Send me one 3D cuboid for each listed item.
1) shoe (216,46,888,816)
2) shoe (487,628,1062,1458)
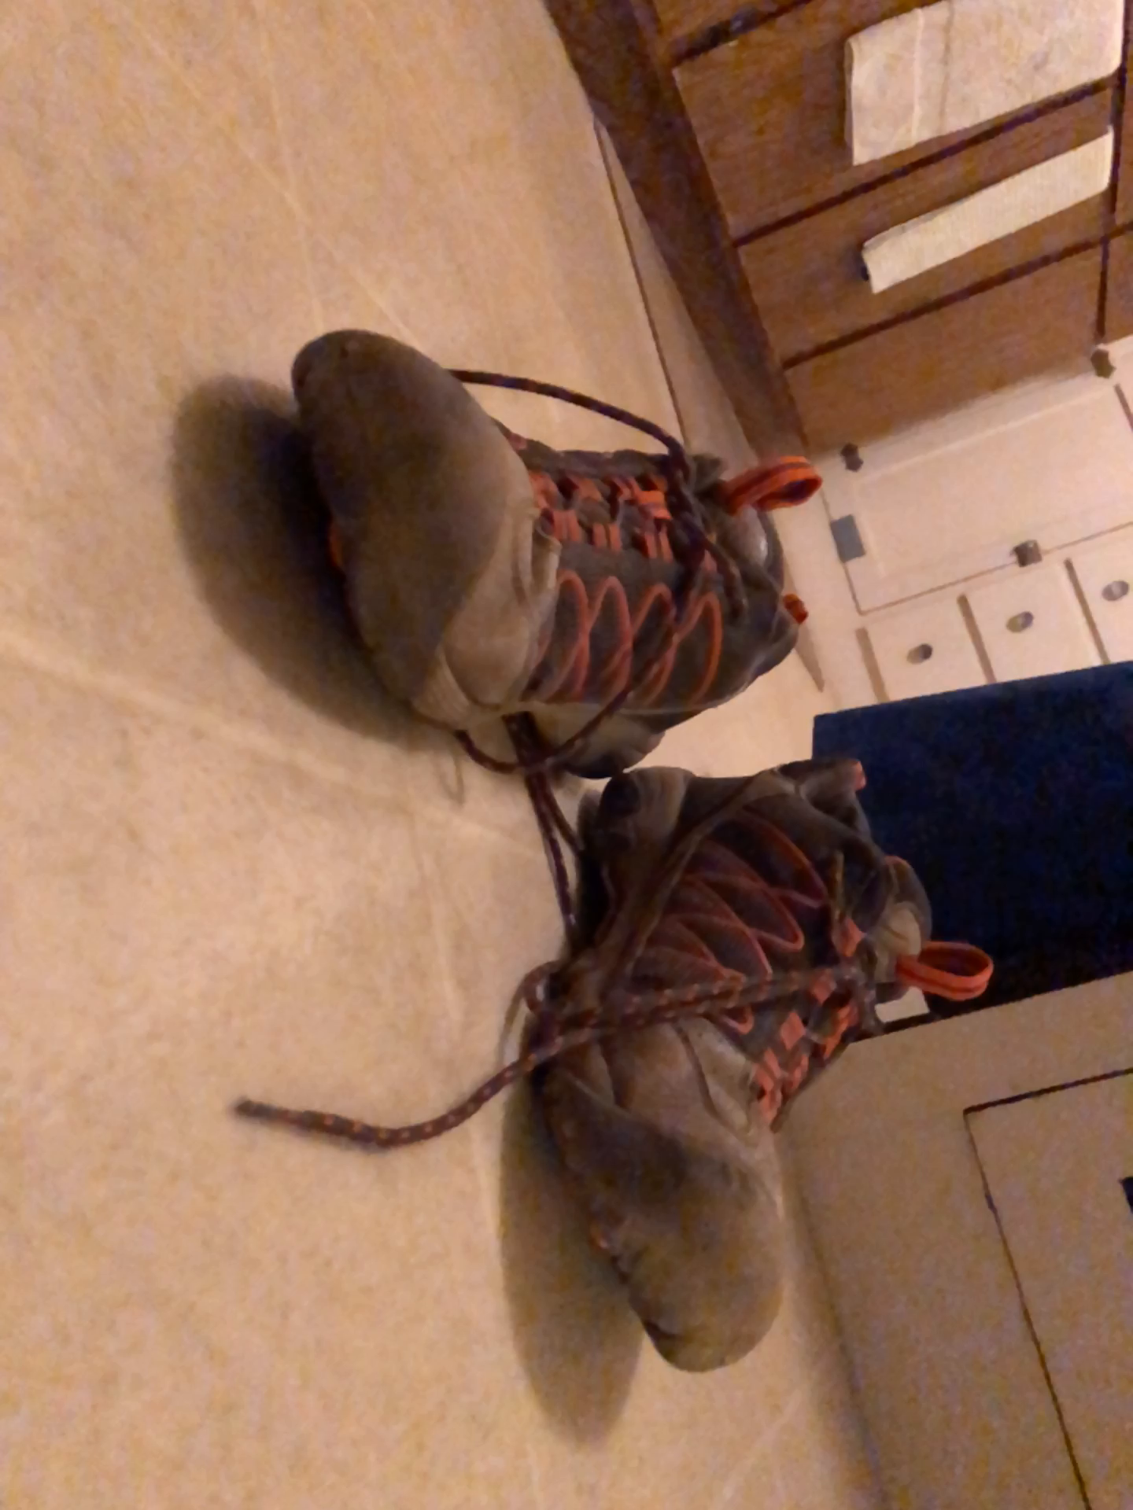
[{"bbox_3d":[0.023,-0.075,0.448,0.293,0.122,0.127,28,46,-68],"label":"shoe"},{"bbox_3d":[0.075,0.080,0.468,0.283,0.122,0.127,-77,145,-62],"label":"shoe"}]
